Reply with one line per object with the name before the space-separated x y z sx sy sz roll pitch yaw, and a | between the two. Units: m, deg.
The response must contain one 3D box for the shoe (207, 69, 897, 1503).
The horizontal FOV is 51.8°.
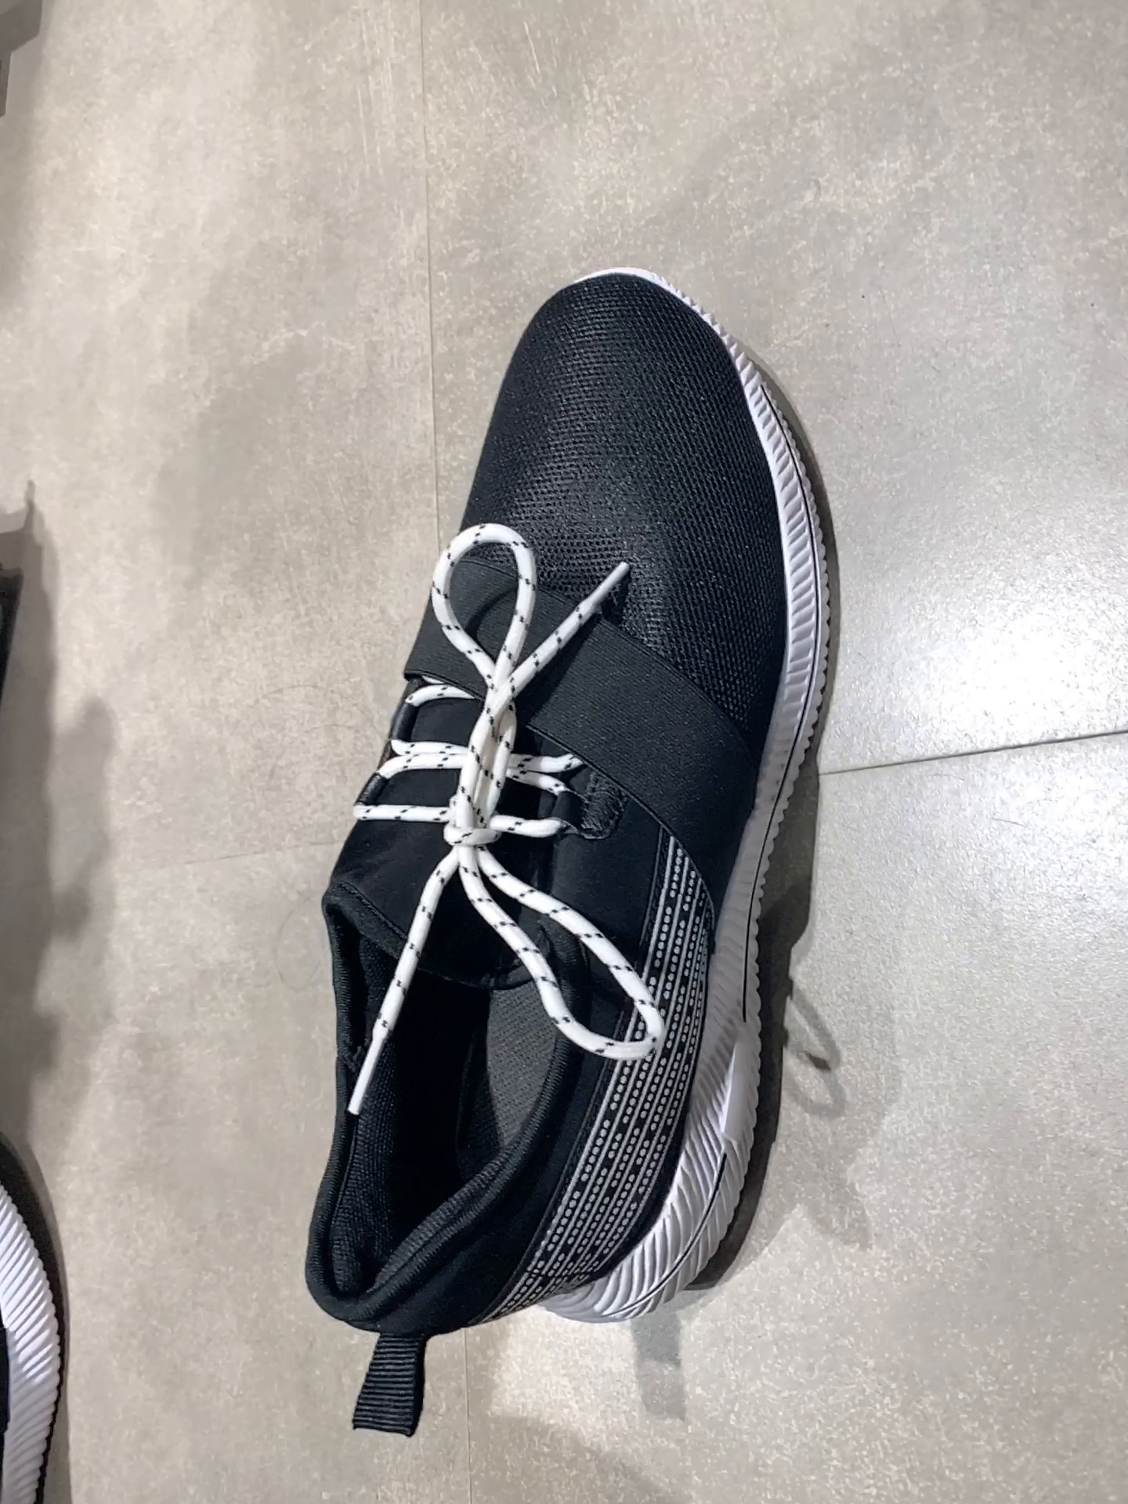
shoe | 0.009 0.008 0.326 0.117 0.131 0.304 1 82 32
